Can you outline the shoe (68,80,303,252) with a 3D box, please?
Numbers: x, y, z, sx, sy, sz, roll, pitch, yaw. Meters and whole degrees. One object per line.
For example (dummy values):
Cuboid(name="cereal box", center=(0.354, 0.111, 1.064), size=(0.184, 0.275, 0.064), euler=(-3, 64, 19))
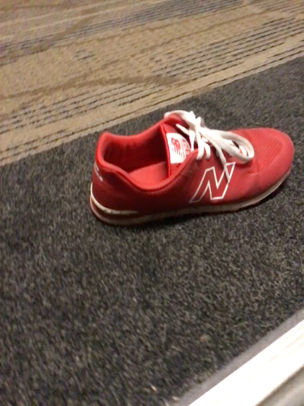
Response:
Cuboid(name="shoe", center=(0.050, -0.047, 0.382), size=(0.257, 0.107, 0.101), euler=(-14, 49, -11))
